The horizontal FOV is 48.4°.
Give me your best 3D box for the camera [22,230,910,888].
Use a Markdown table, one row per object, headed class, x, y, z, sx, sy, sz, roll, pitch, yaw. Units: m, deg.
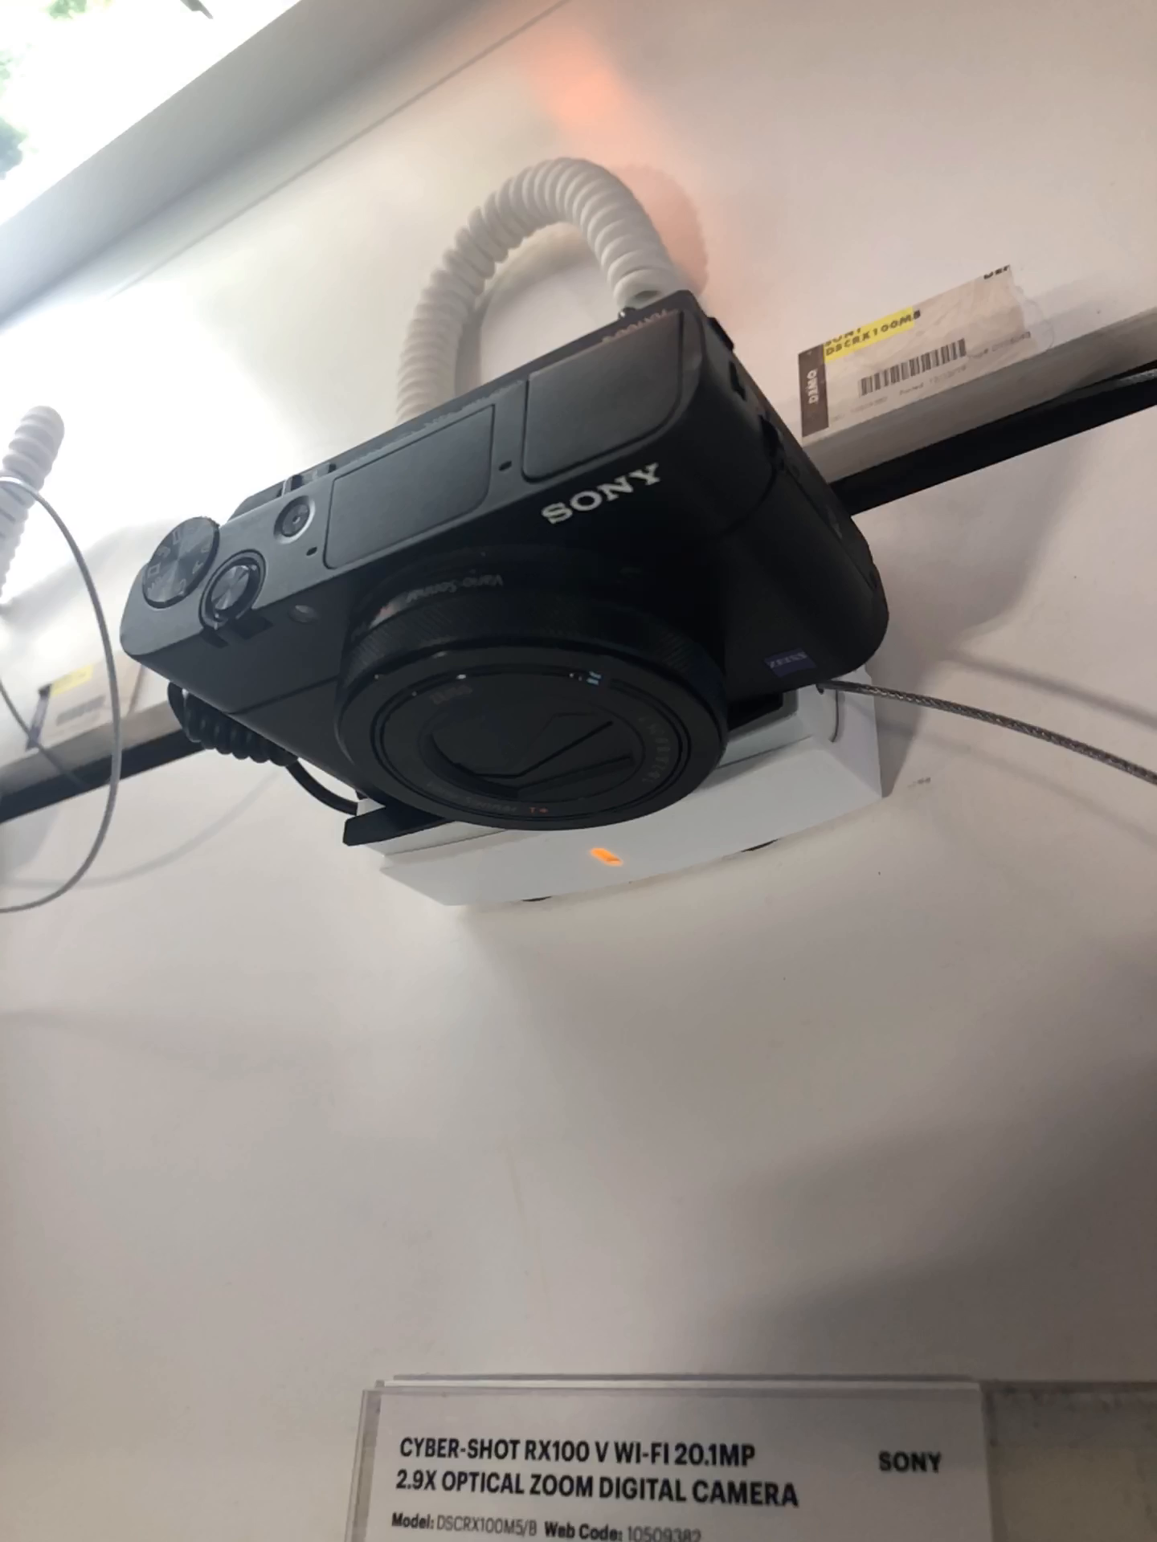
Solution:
| class | x | y | z | sx | sy | sz | roll | pitch | yaw |
| --- | --- | --- | --- | --- | --- | --- | --- | --- | --- |
| camera | -0.015 | -0.019 | 0.179 | 0.101 | 0.063 | 0.032 | -16 | 56 | 31 |
